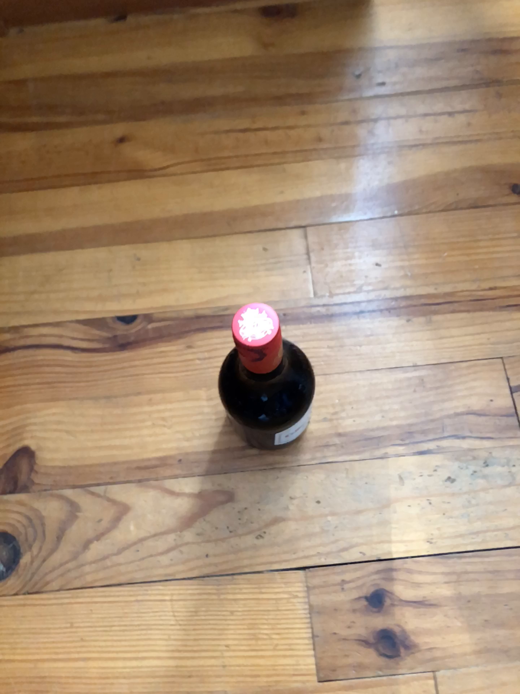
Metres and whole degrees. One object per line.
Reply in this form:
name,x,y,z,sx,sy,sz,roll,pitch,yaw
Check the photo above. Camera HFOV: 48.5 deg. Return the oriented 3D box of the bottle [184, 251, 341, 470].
bottle,0.007,0.020,0.372,0.060,0.169,0.070,17,70,10
